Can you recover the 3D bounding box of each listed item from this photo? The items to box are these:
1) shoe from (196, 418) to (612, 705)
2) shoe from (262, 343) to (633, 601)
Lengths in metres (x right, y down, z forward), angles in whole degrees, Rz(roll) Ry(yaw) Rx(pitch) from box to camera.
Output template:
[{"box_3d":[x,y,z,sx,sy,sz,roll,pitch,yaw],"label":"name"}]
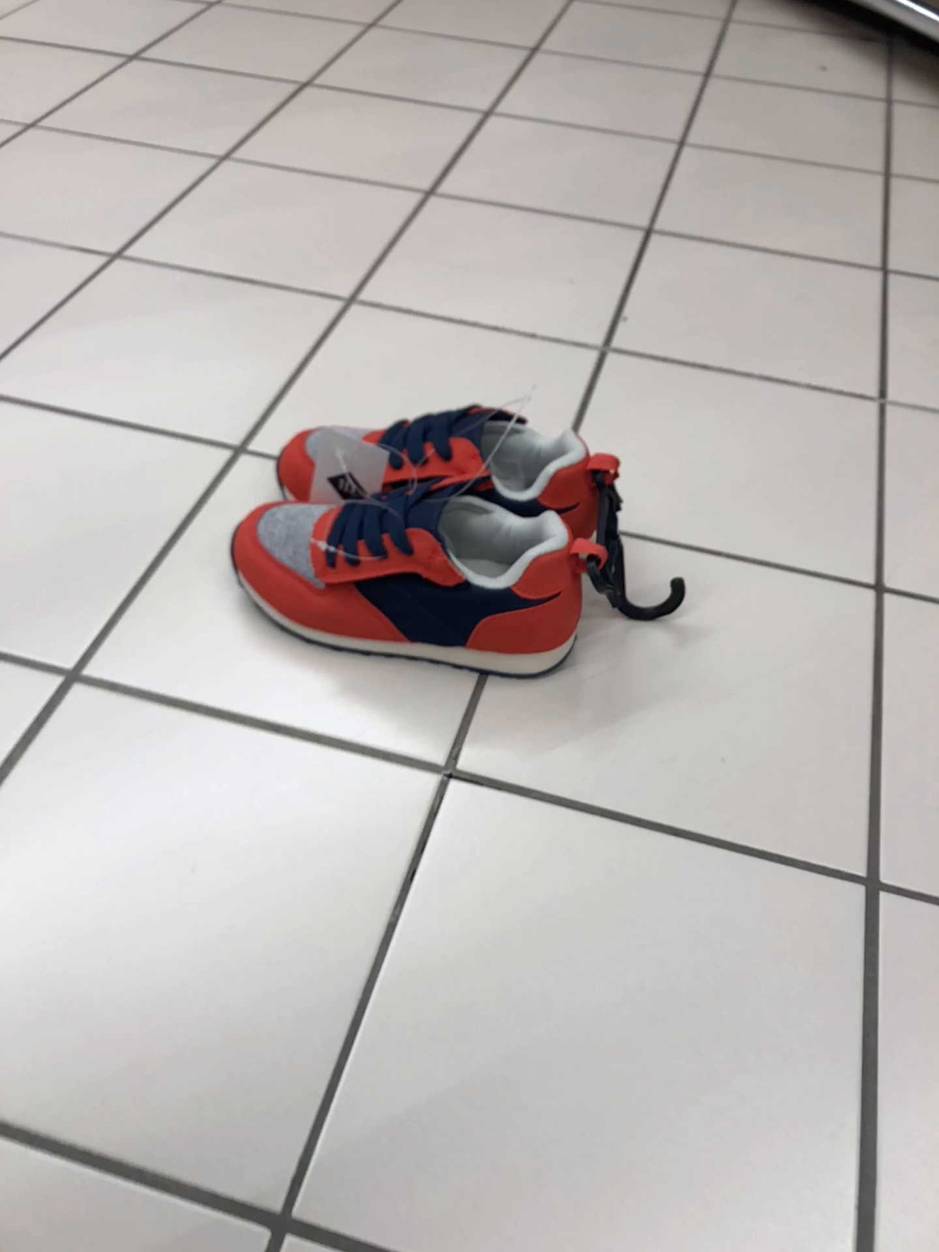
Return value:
[{"box_3d":[-0.030,-0.035,0.540,0.188,0.083,0.083,11,46,7],"label":"shoe"},{"box_3d":[-0.010,-0.088,0.592,0.187,0.083,0.083,11,46,7],"label":"shoe"}]
